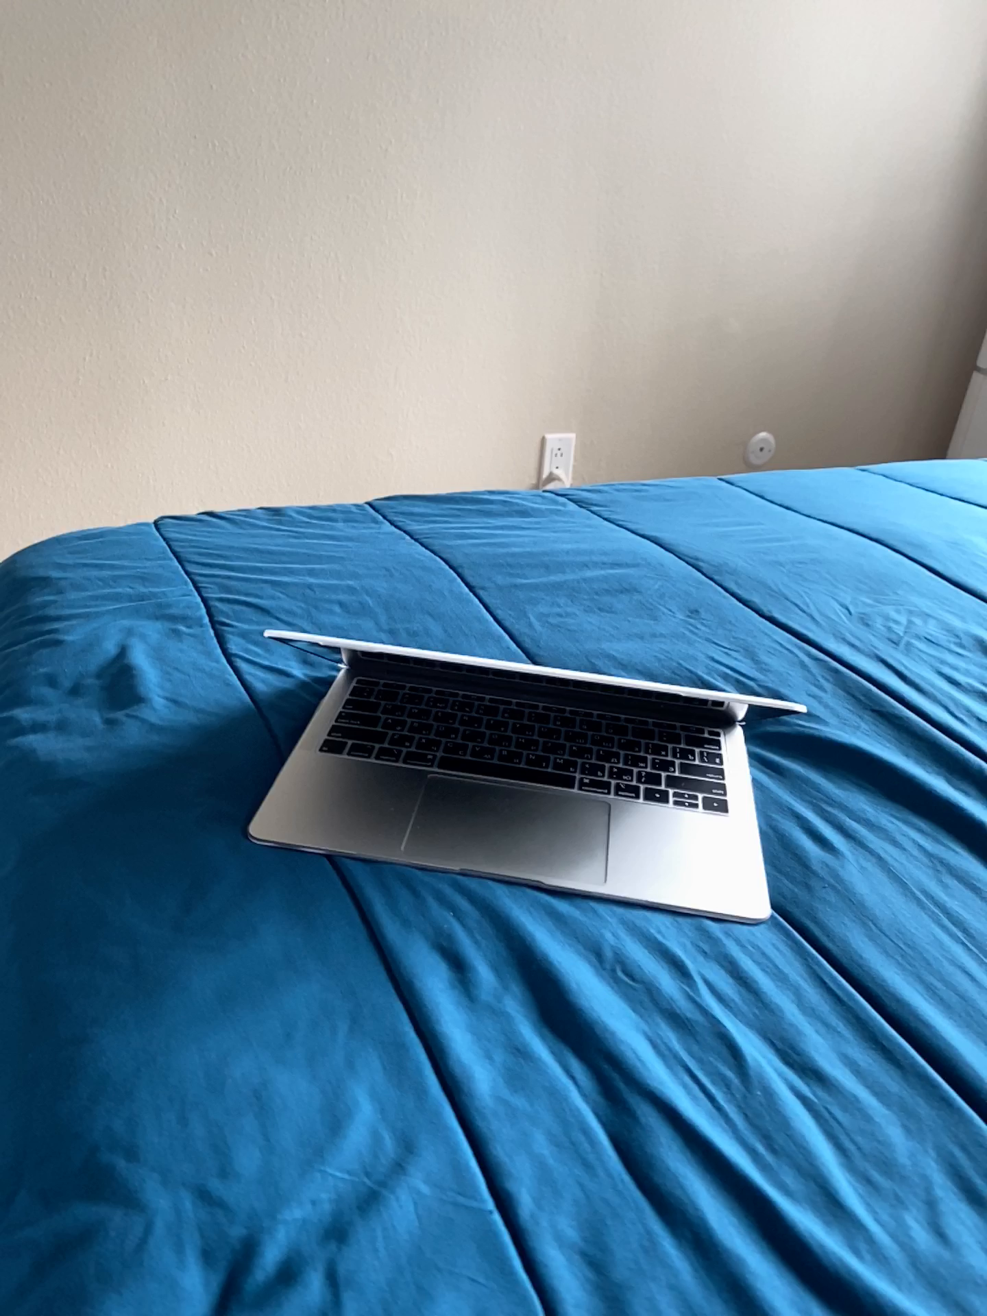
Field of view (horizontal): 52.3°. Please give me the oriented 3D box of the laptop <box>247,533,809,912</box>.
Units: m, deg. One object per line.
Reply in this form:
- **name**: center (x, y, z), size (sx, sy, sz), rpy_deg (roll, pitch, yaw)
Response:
- **laptop**: center (0.024, 0.026, 0.667), size (0.310, 0.106, 0.220), rpy_deg (7, 29, 6)
